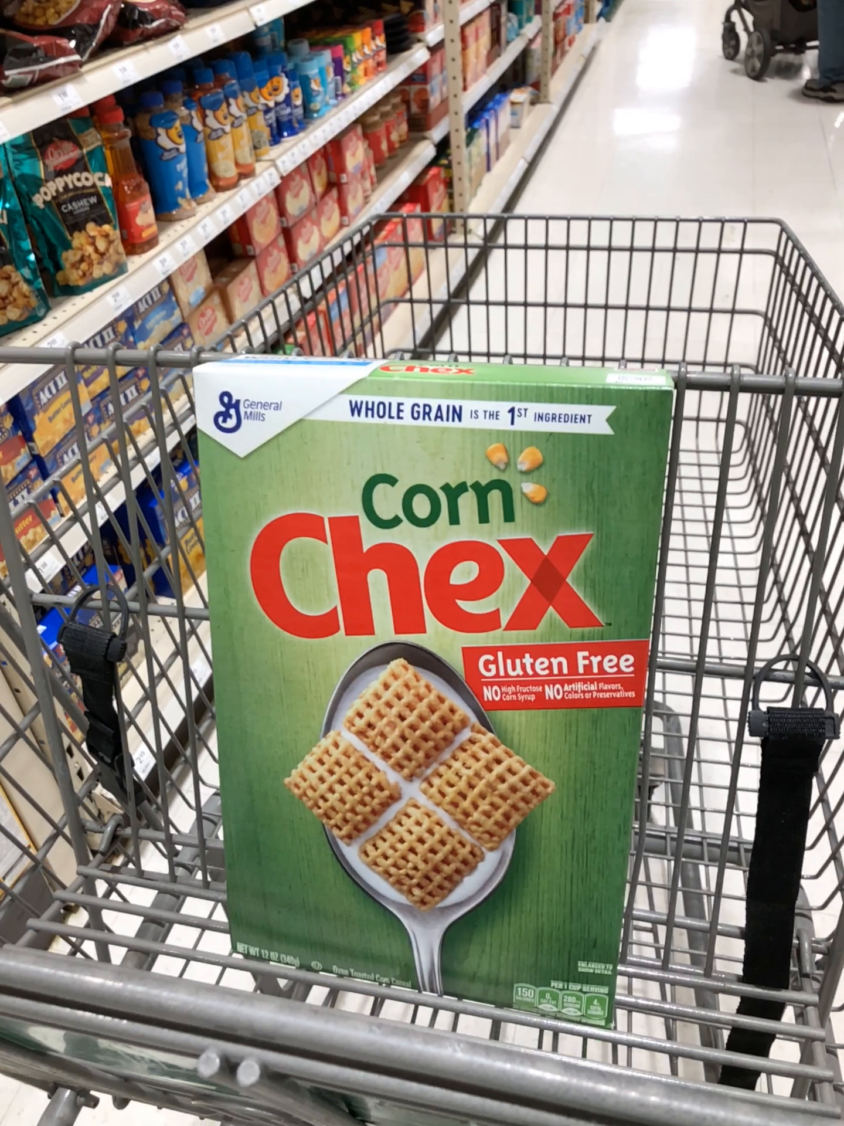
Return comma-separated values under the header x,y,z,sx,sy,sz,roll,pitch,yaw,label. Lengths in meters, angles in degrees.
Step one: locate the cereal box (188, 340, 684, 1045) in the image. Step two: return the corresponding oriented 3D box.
x,y,z,sx,sy,sz,roll,pitch,yaw,label
0.005,0.059,0.439,0.200,0.310,0.060,5,18,14,cereal box
